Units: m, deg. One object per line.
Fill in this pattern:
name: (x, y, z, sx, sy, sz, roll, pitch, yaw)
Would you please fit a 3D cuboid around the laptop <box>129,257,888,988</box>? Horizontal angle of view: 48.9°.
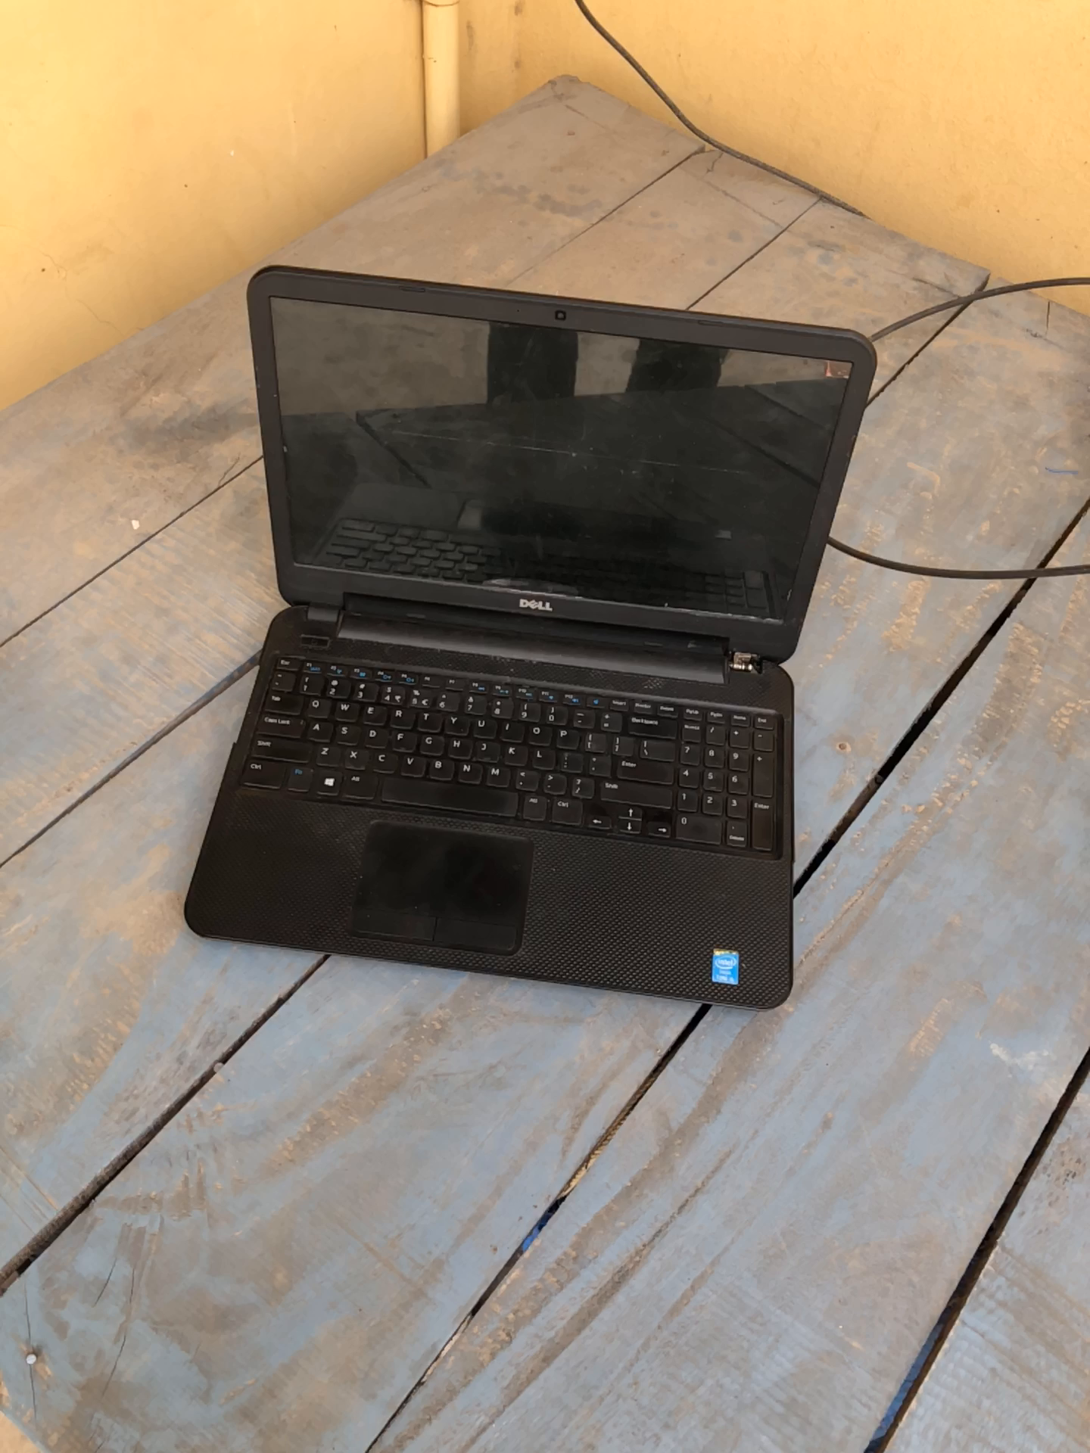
laptop: (-0.002, -0.061, 0.688, 0.331, 0.214, 0.308, 7, 56, 2)
